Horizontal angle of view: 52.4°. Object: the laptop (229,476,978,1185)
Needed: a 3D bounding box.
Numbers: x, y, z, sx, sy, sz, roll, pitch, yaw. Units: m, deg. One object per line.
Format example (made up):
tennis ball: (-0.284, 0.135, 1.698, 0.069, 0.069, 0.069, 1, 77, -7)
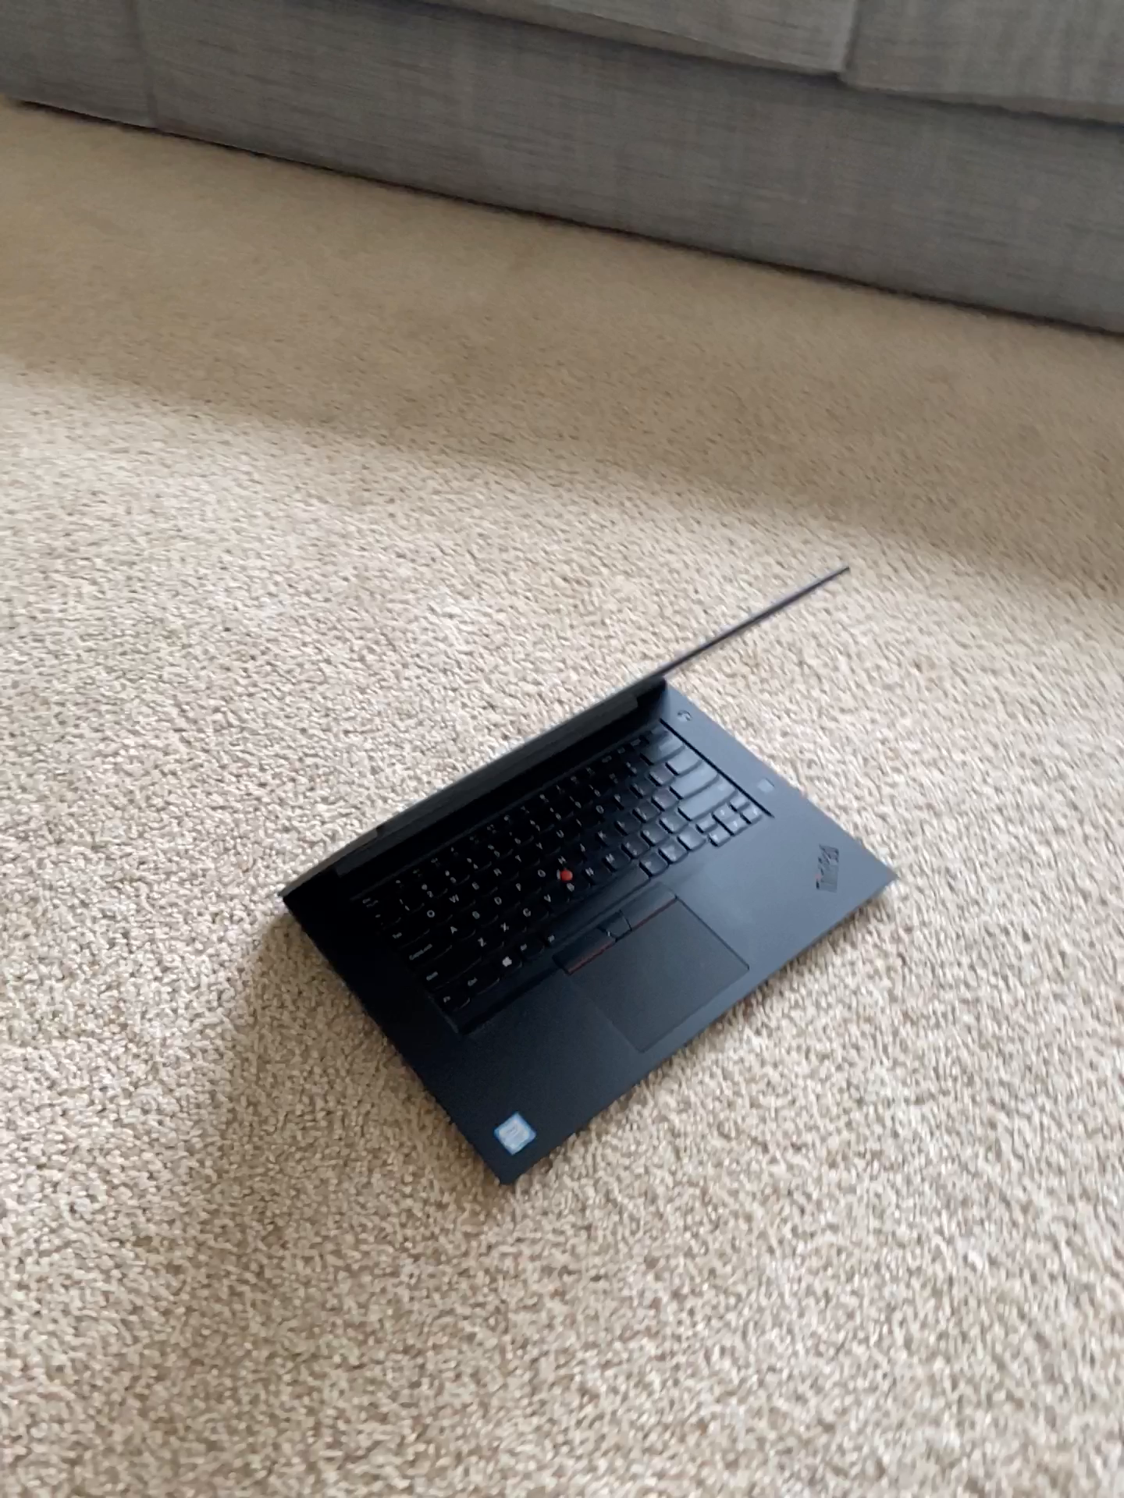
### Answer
laptop: (0.025, 0.029, 0.718, 0.355, 0.198, 0.244, -29, 57, -29)
